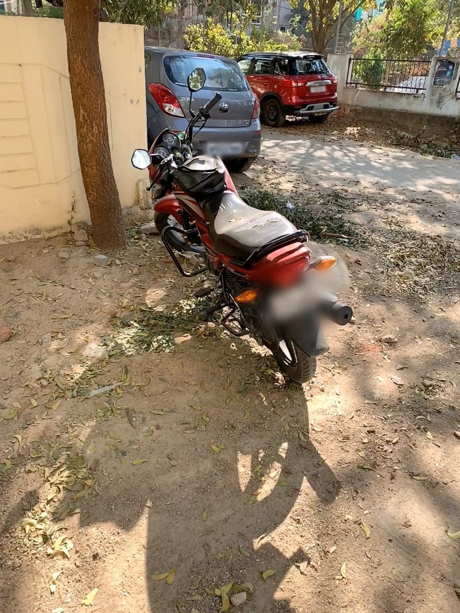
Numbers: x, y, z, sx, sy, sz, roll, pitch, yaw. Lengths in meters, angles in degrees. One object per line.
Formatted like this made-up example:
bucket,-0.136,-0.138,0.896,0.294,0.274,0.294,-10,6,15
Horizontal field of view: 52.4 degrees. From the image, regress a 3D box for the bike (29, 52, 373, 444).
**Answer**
bike,-0.299,-0.462,2.324,0.776,1.179,1.648,-14,36,-27
